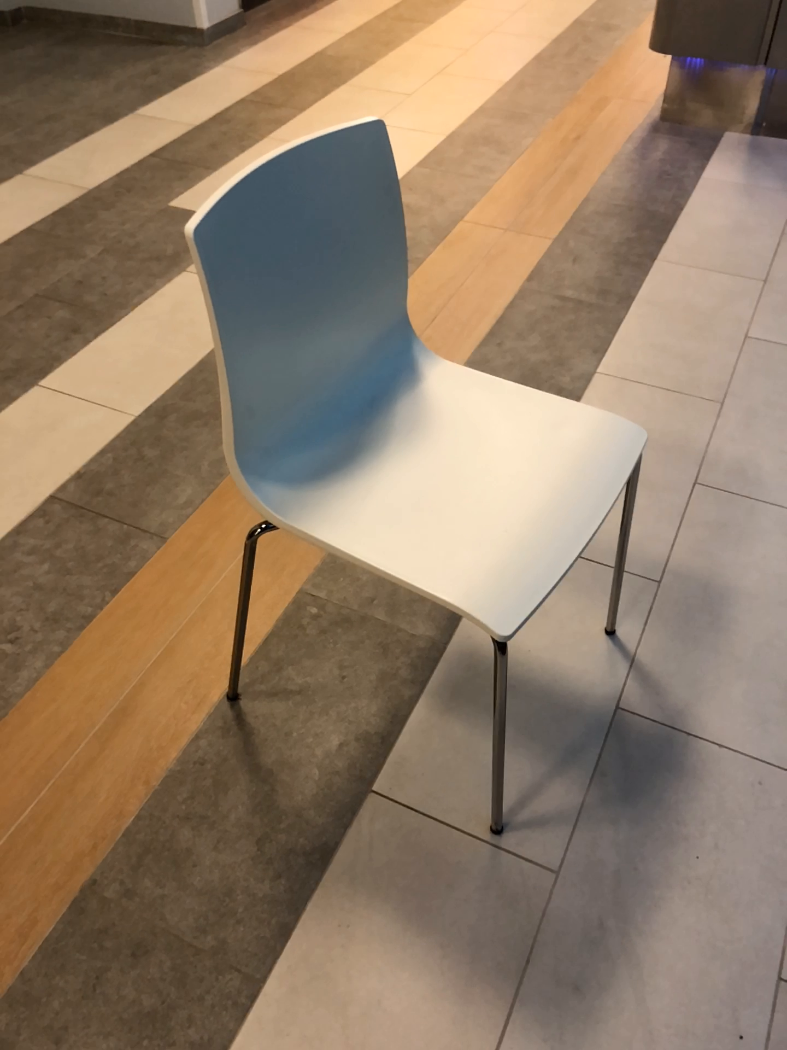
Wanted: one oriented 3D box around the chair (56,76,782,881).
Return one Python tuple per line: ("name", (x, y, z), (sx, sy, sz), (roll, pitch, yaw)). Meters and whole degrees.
("chair", (0.065, -0.067, 1.173), (0.551, 0.776, 0.582), (22, 49, 22))
